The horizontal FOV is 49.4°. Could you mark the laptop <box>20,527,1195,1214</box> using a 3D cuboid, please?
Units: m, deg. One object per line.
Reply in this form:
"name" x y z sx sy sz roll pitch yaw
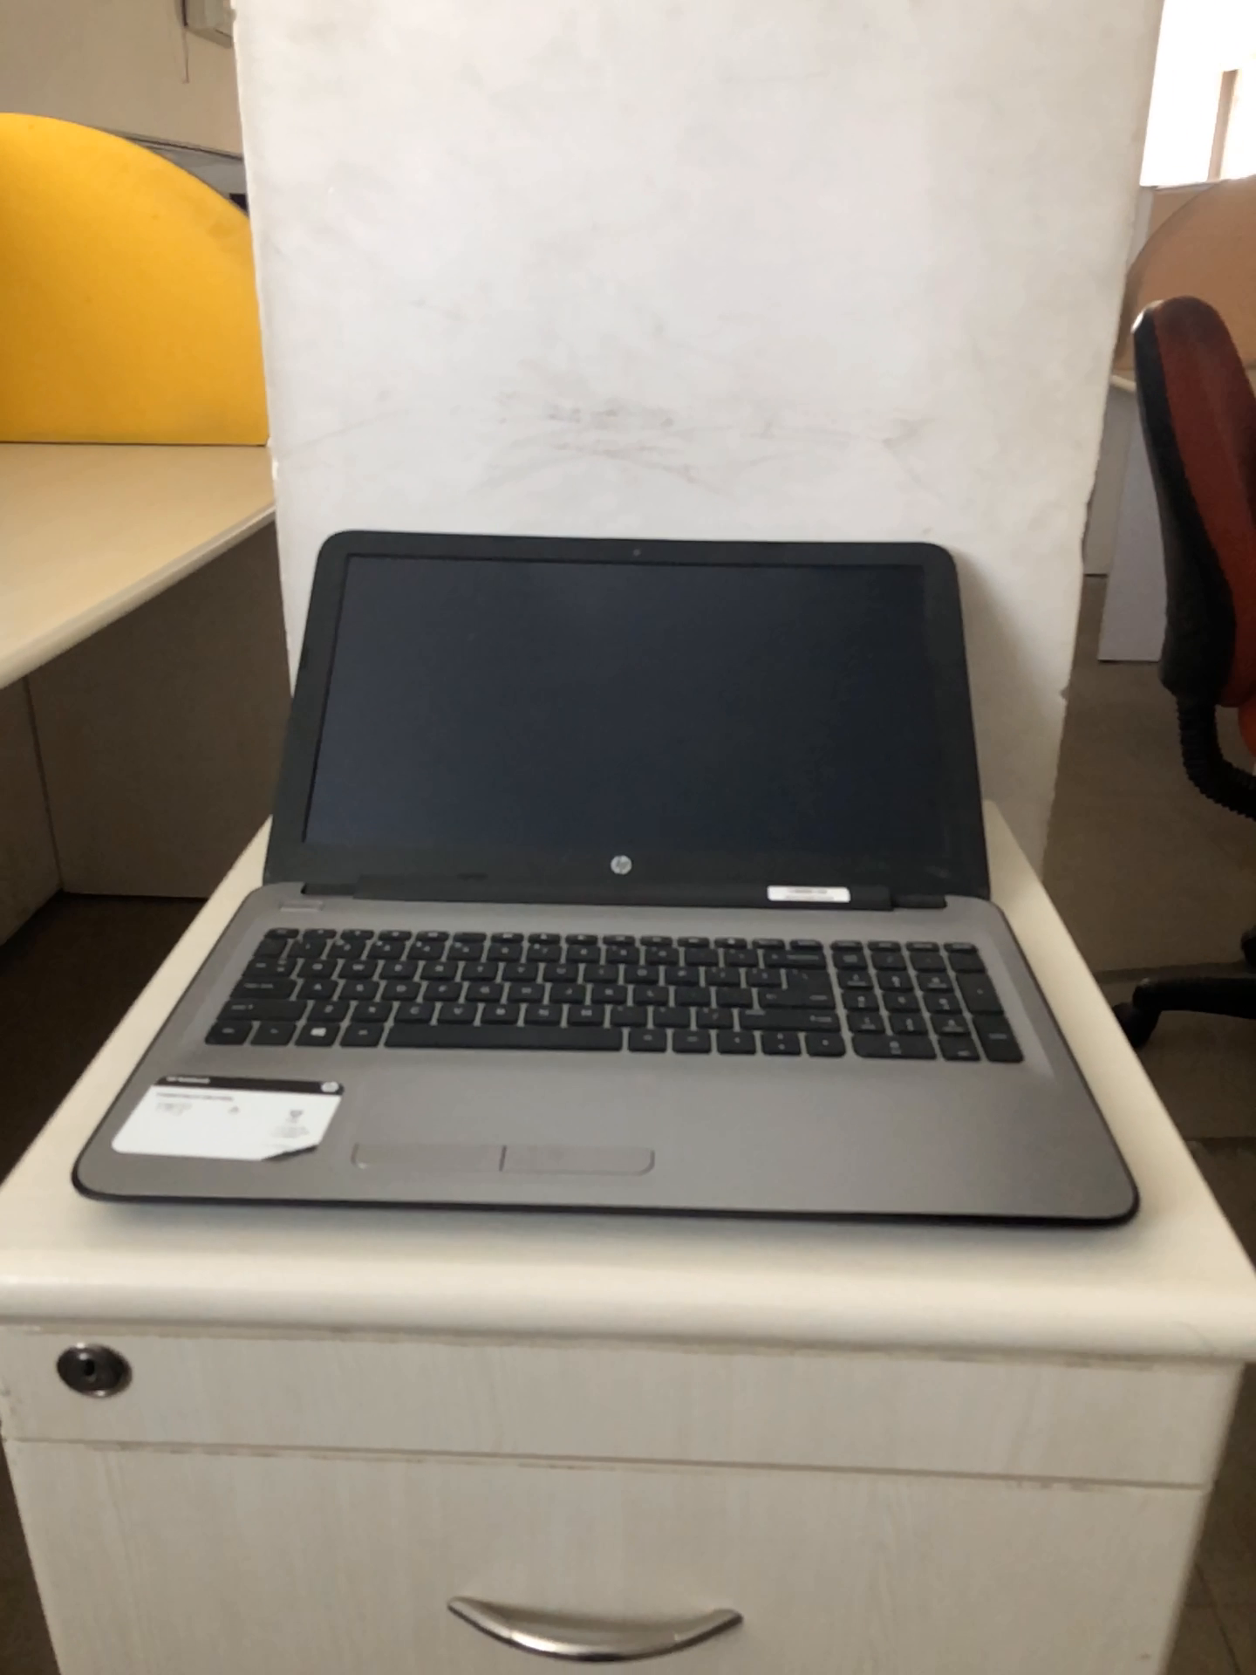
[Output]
"laptop" -0.002 -0.028 0.640 0.361 0.136 0.427 1 25 1
